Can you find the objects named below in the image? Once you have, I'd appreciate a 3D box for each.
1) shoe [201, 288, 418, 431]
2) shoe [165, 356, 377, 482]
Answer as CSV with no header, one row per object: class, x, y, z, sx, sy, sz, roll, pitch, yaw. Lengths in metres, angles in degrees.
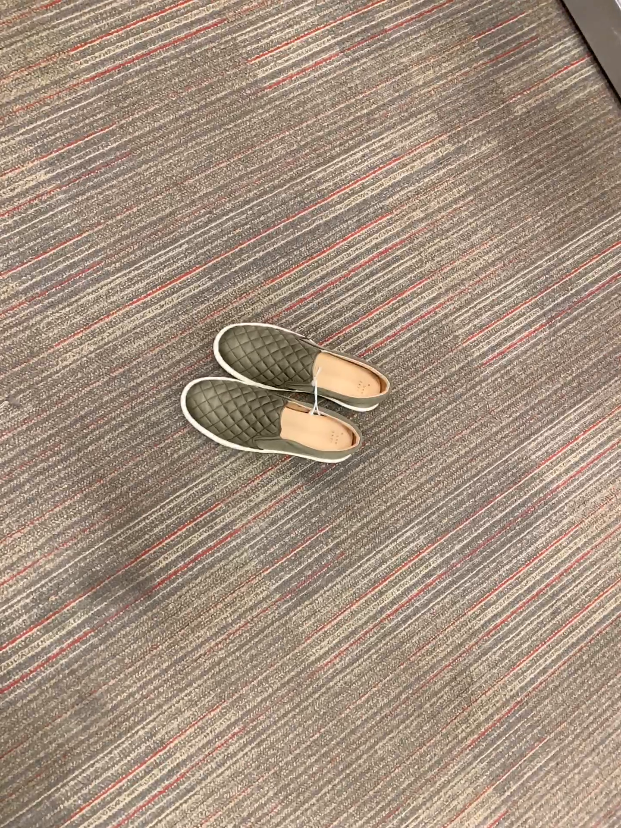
shoe,-0.007,-0.073,0.956,0.290,0.130,0.100,20,81,-11
shoe,-0.063,0.014,0.962,0.290,0.110,0.100,18,81,-11
